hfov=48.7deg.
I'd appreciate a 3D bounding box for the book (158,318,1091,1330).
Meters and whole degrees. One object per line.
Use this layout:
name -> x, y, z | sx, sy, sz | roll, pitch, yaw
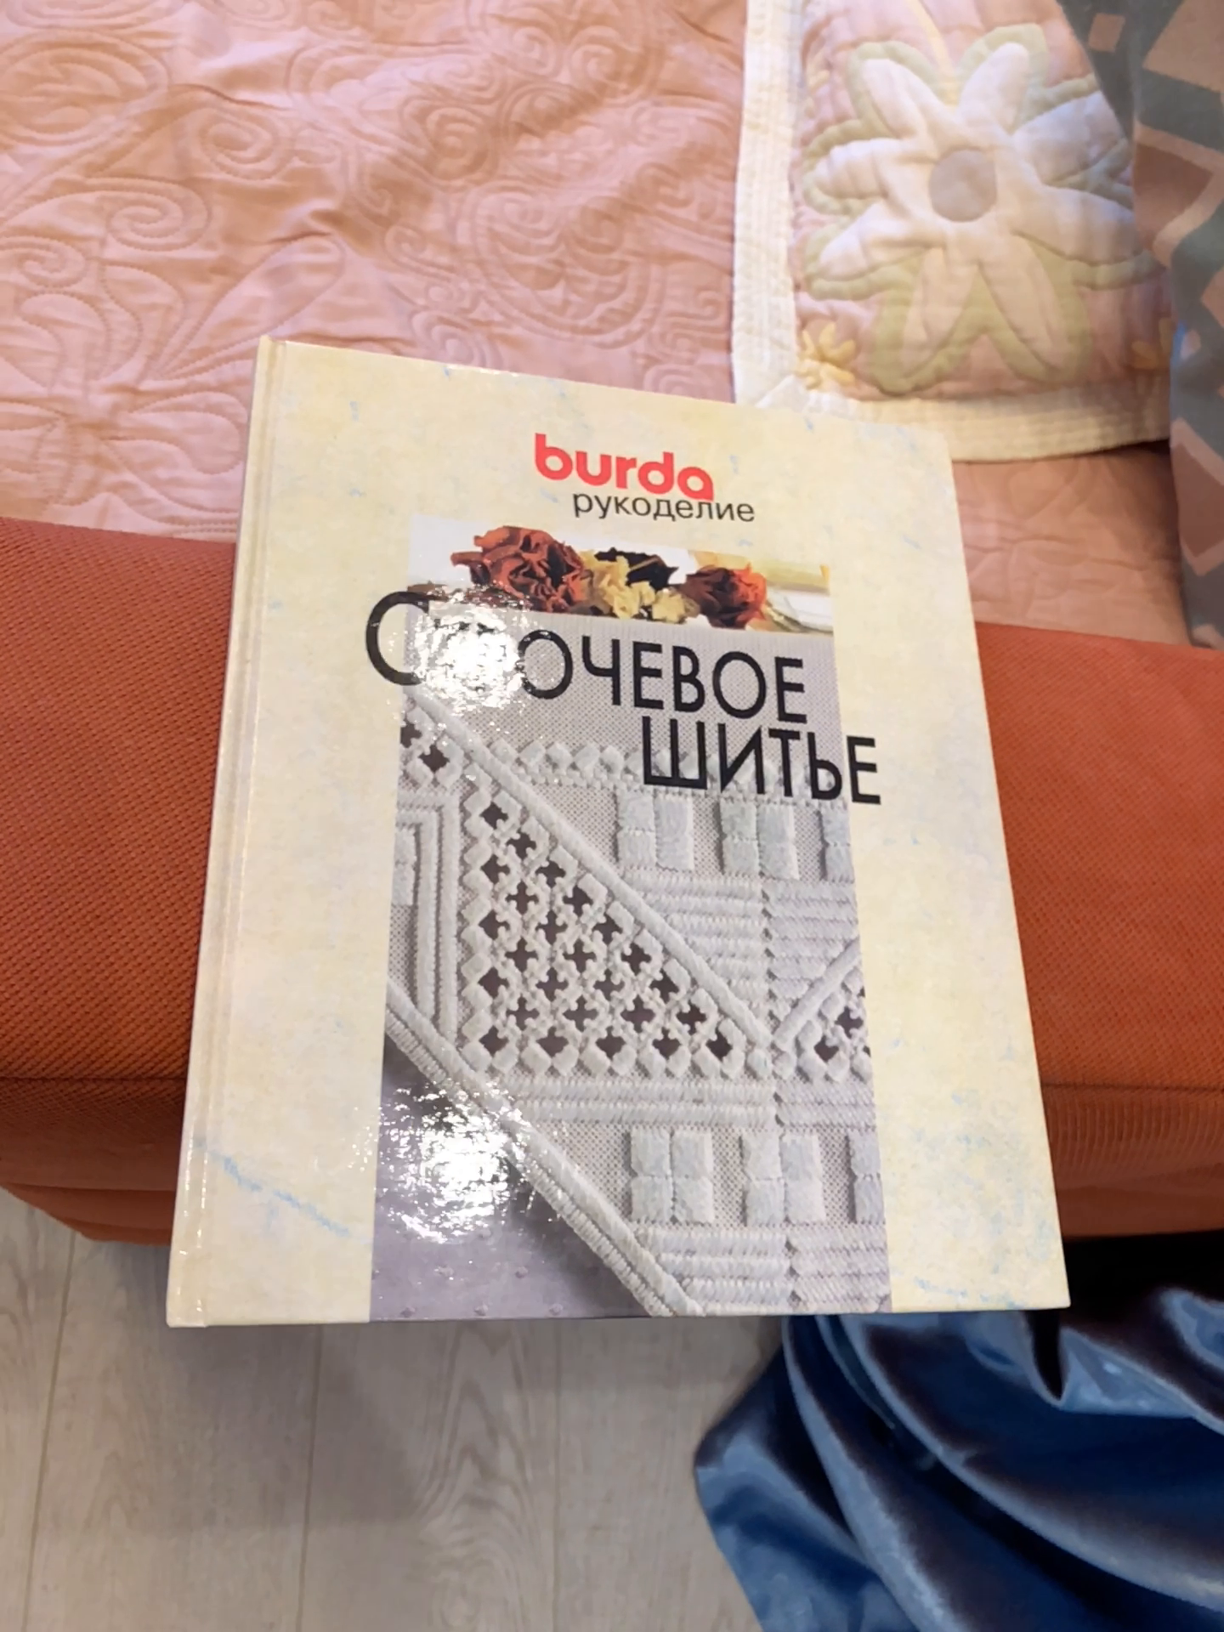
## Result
book -> 0.007, -0.005, 0.358 | 0.215, 0.020, 0.259 | 4, 69, -13
